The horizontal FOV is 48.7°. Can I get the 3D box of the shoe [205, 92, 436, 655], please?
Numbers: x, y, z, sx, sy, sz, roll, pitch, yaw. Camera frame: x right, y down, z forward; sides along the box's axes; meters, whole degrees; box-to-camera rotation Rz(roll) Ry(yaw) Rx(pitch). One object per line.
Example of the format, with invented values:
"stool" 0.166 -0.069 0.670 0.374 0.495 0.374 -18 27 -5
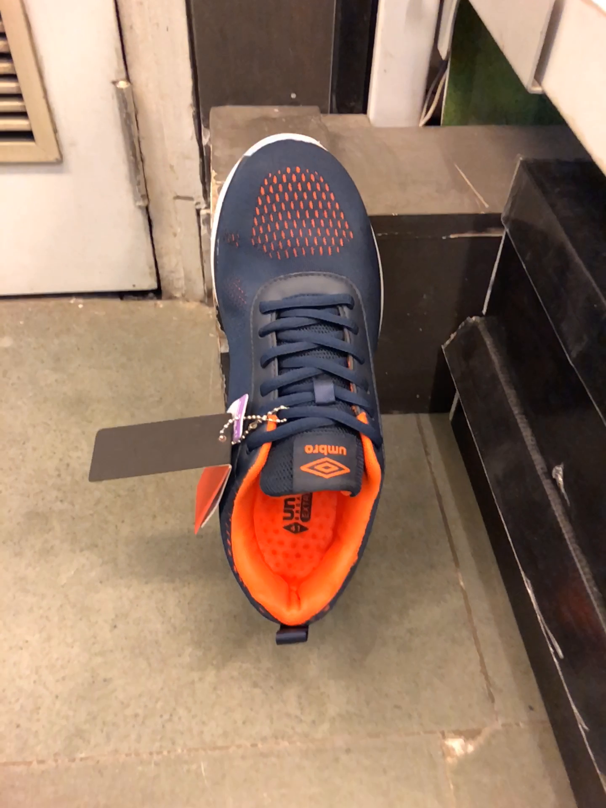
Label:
"shoe" -0.006 -0.018 0.371 0.092 0.259 0.133 0 16 -9
